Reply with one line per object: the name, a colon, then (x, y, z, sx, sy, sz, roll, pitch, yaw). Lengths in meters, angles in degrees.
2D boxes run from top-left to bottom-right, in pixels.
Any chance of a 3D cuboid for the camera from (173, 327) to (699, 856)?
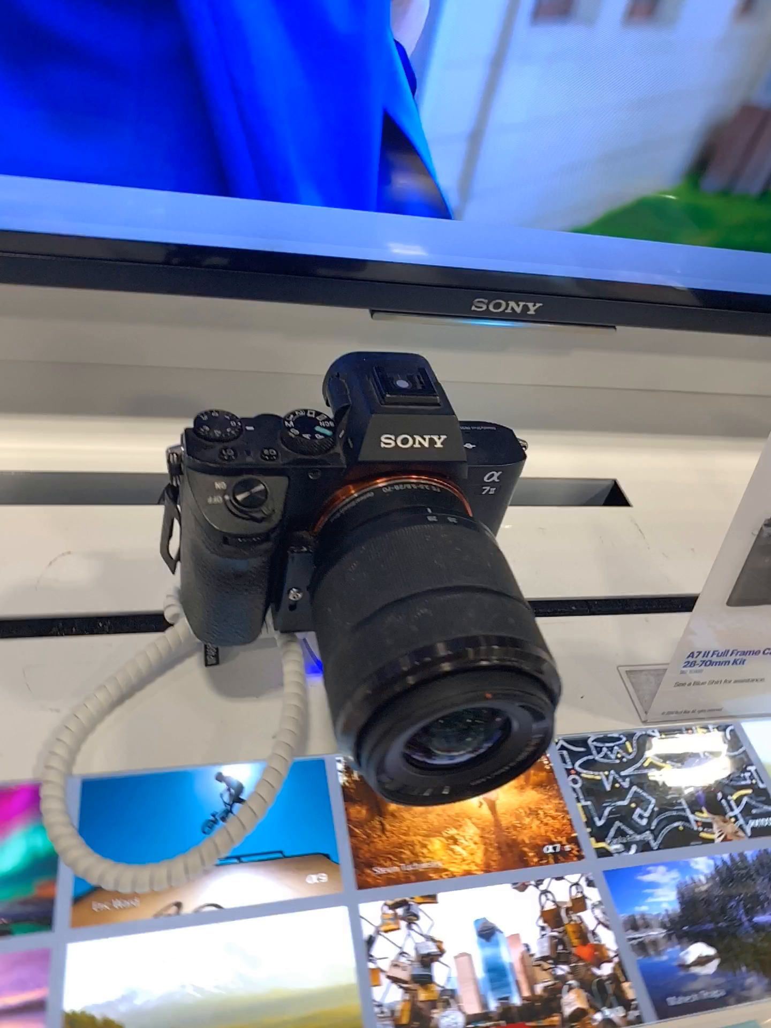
camera: (-0.003, 0.017, 0.268, 0.130, 0.090, 0.142, -1, 44, -15)
